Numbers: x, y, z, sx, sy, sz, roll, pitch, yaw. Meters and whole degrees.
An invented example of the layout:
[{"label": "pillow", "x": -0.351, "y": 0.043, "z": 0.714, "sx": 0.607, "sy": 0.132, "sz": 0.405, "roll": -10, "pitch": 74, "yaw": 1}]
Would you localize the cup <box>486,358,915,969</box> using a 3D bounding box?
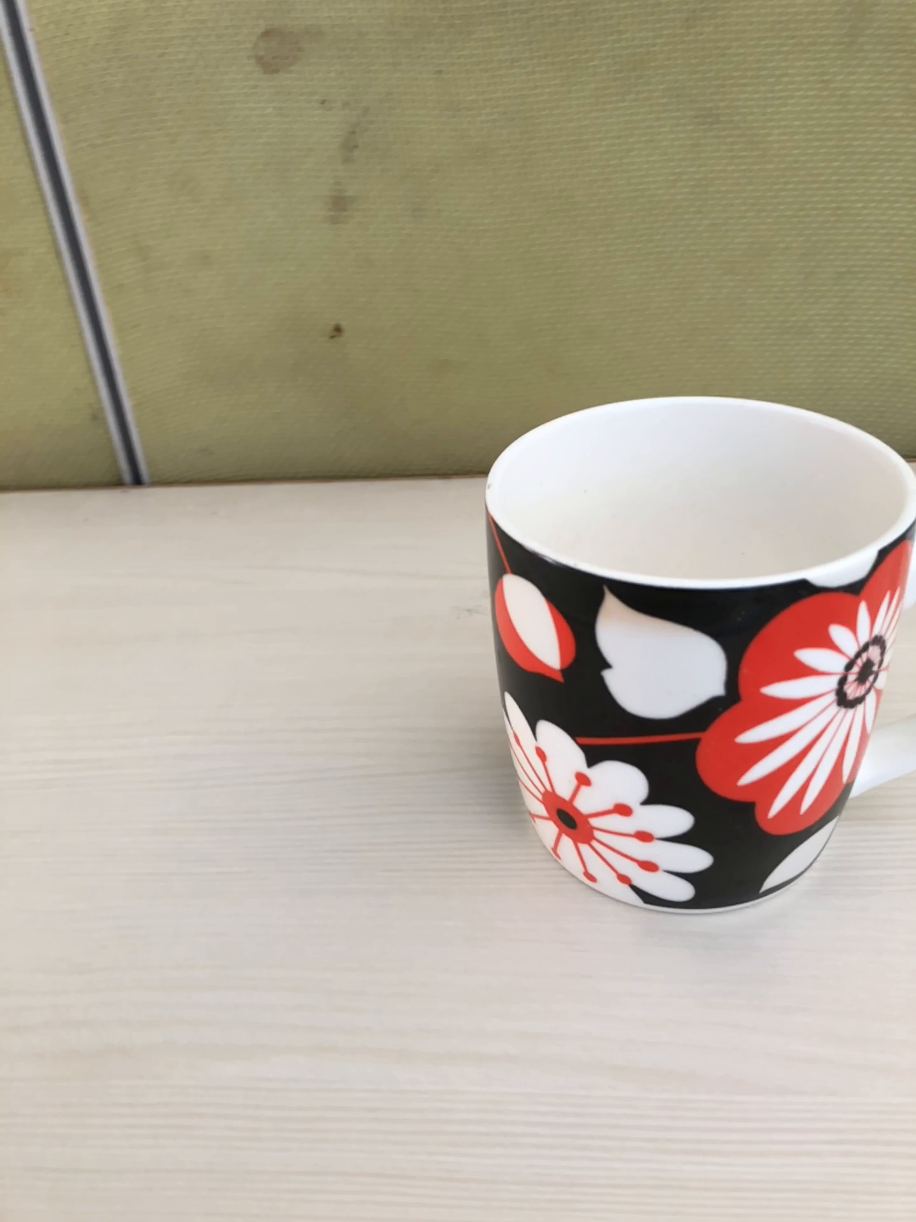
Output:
[{"label": "cup", "x": 0.073, "y": 0.007, "z": 0.228, "sx": 0.120, "sy": 0.089, "sz": 0.091, "roll": -6, "pitch": 31, "yaw": -1}]
